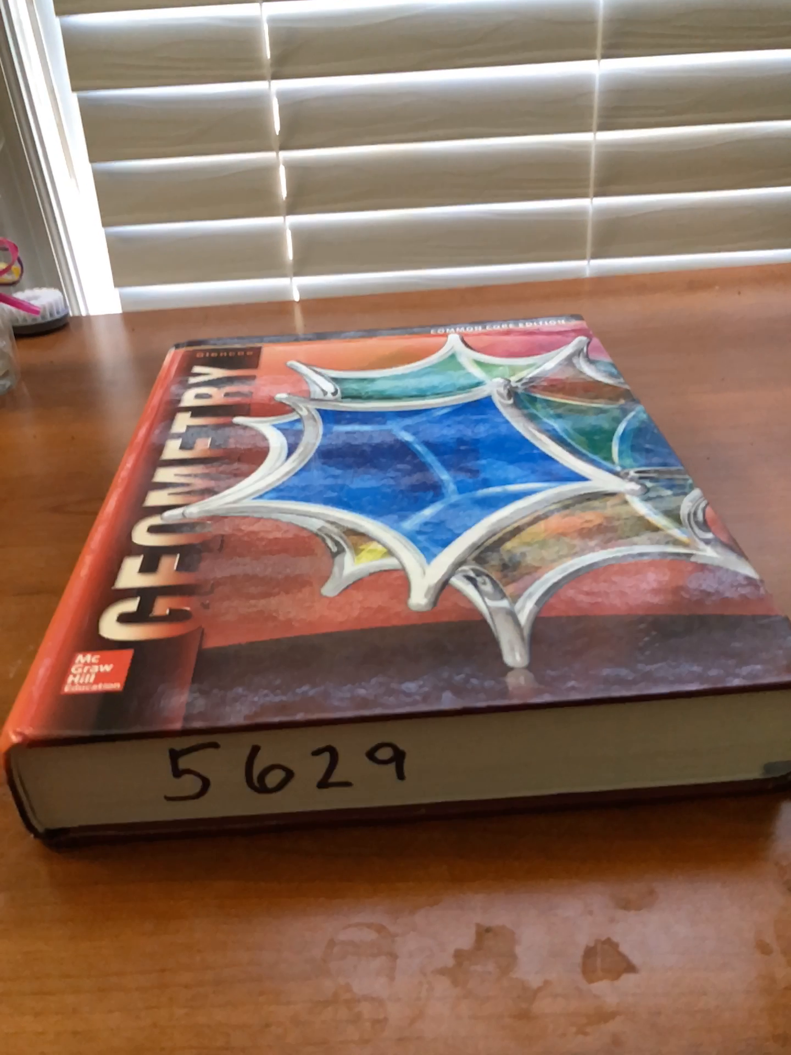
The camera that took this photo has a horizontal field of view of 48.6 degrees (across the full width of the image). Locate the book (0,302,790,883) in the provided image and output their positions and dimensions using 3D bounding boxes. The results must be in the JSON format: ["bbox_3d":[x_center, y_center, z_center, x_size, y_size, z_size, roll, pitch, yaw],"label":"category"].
[{"bbox_3d":[-0.001,-0.013,0.366,0.229,0.050,0.312,-4,32,-1],"label":"book"}]
